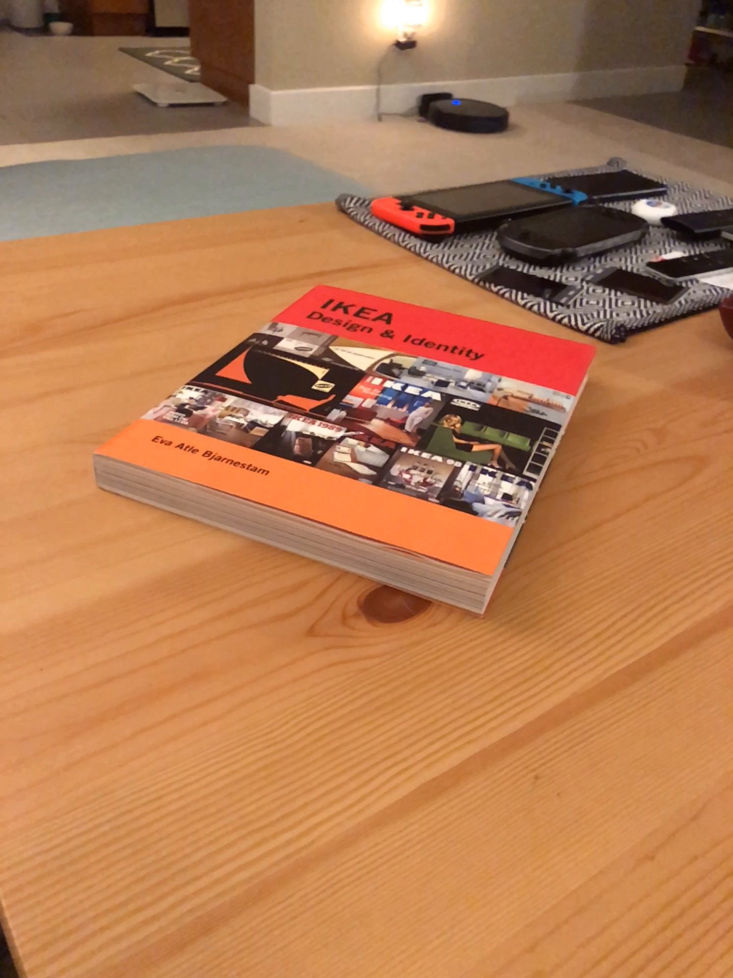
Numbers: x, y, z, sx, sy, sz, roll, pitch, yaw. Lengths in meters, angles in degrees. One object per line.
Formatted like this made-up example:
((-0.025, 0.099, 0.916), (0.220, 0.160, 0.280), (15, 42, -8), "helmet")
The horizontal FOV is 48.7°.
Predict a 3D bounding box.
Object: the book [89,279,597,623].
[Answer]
((0.006, -0.048, 0.488), (0.216, 0.030, 0.256), (17, 38, 16), "book")
